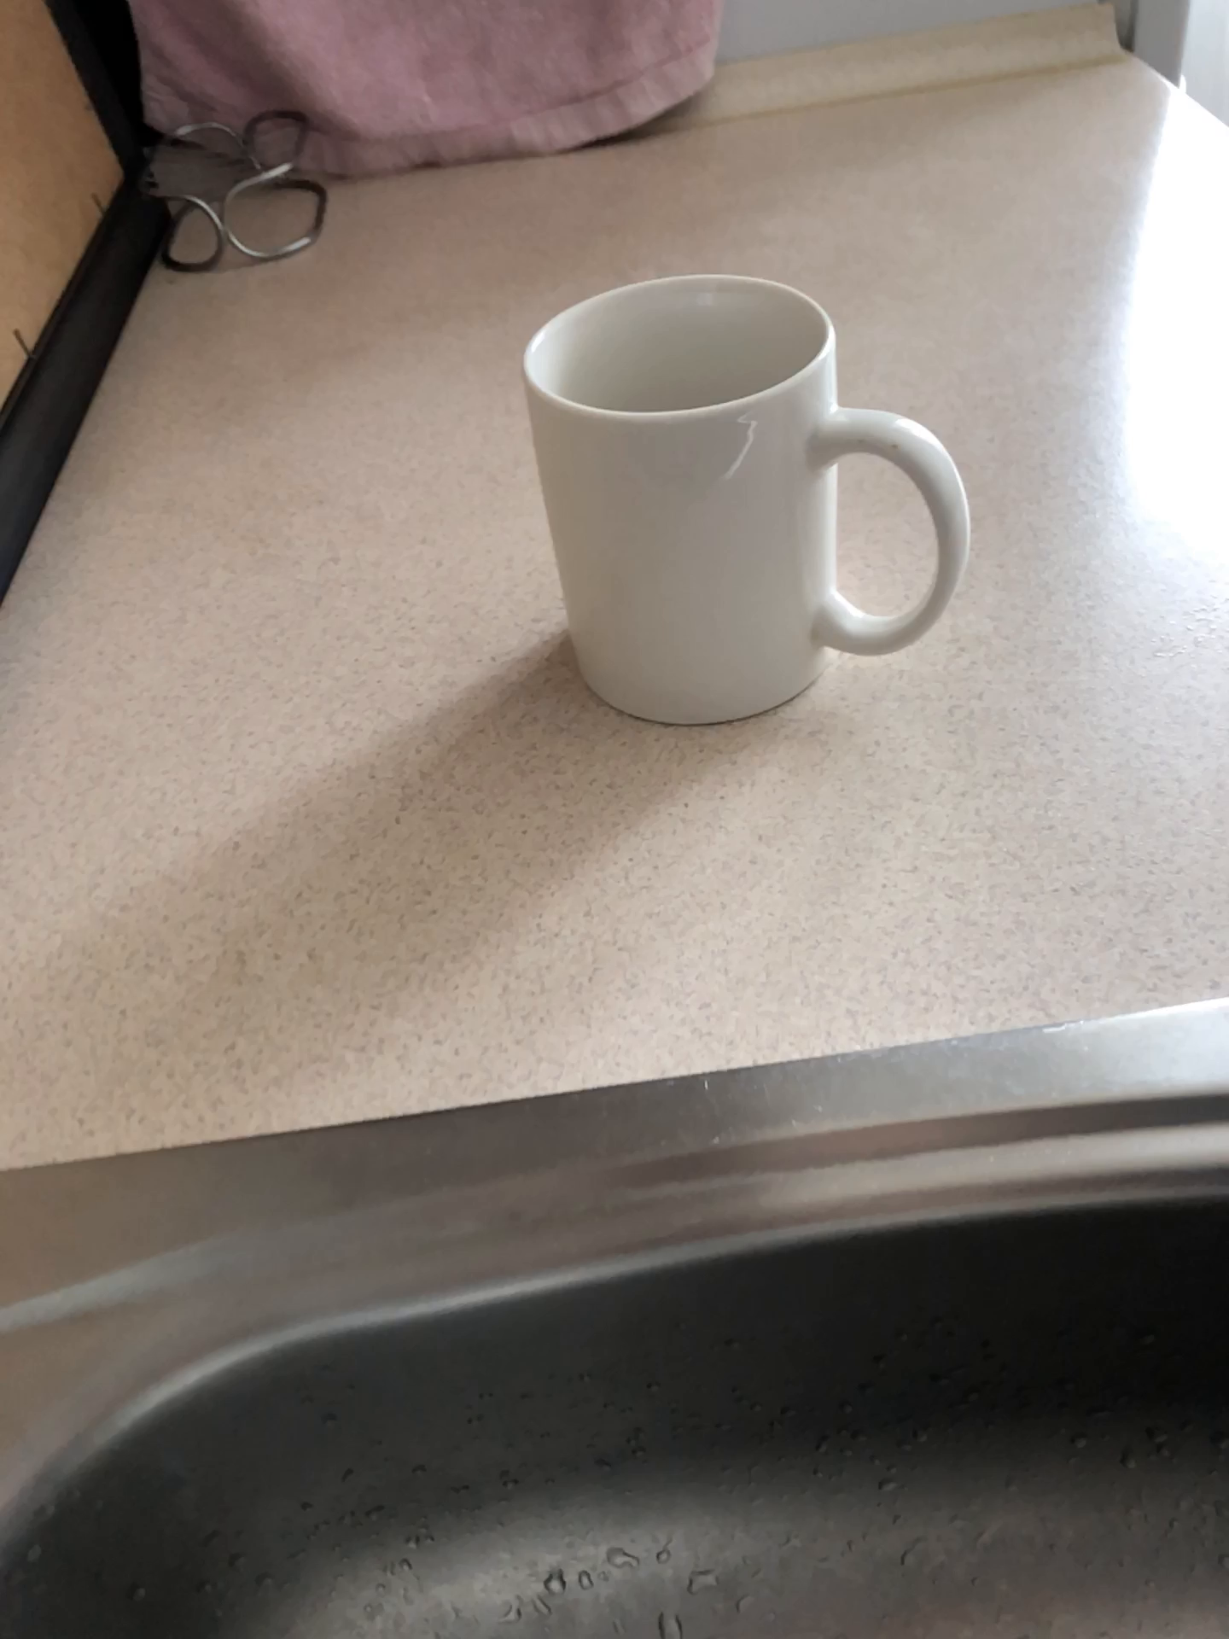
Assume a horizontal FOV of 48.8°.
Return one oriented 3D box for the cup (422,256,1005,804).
[{"bbox_3d":[0.031,-0.082,0.369,0.120,0.099,0.084,16,49,24],"label":"cup"}]
